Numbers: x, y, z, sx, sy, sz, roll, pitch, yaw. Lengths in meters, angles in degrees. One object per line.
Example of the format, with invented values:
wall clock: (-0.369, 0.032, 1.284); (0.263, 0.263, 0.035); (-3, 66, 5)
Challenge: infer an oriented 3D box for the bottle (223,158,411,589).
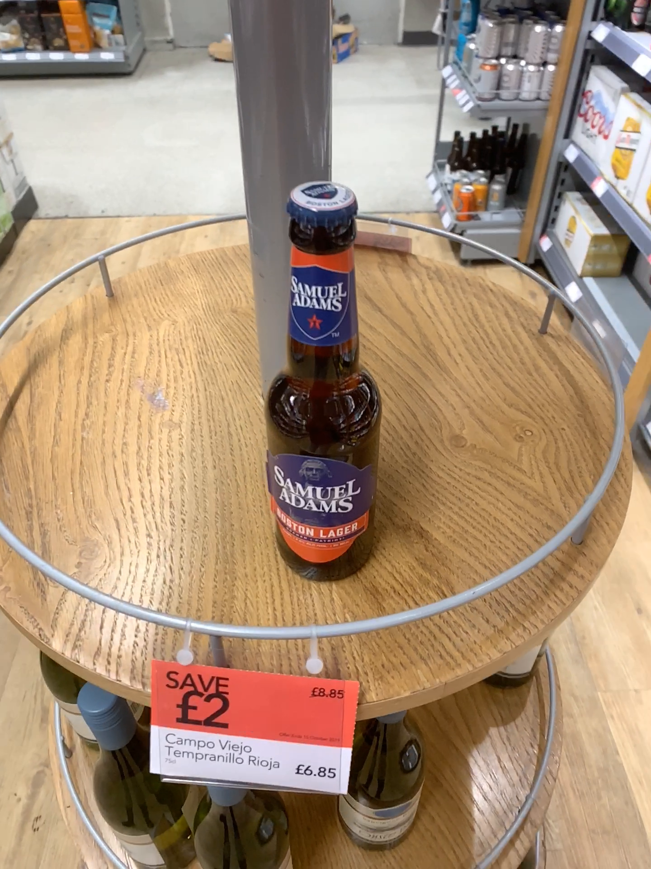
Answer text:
bottle: (0.000, -0.015, 0.326); (0.062, 0.211, 0.061); (0, 43, 0)
